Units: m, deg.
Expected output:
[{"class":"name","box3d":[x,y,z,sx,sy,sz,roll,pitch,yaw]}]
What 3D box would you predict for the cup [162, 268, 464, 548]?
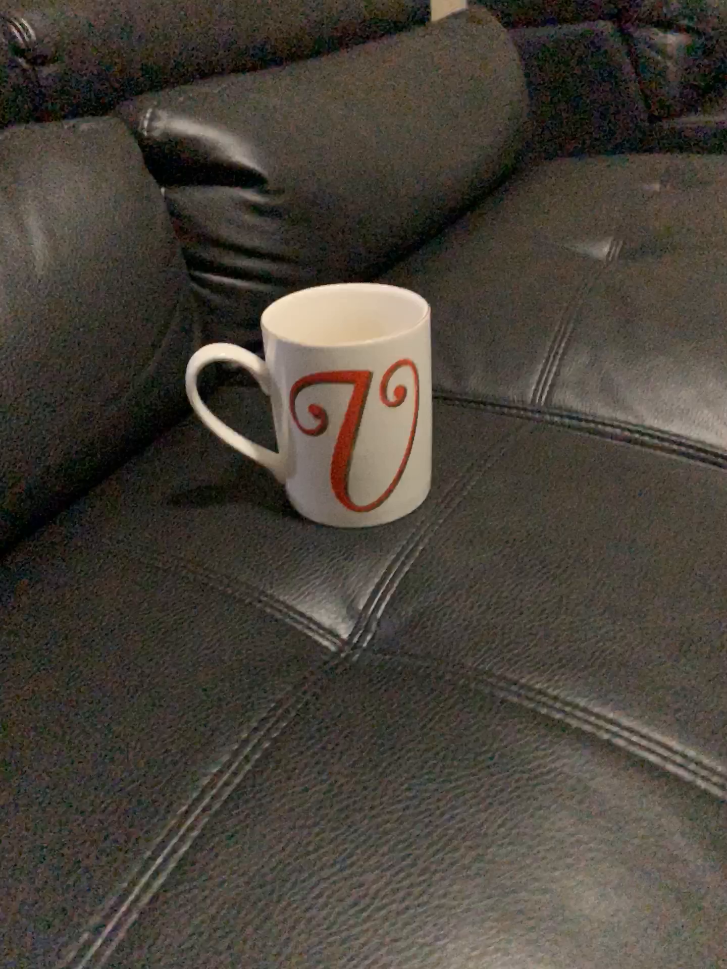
[{"class":"cup","box3d":[-0.024,-0.045,0.411,0.138,0.106,0.098,-6,32,-3]}]
